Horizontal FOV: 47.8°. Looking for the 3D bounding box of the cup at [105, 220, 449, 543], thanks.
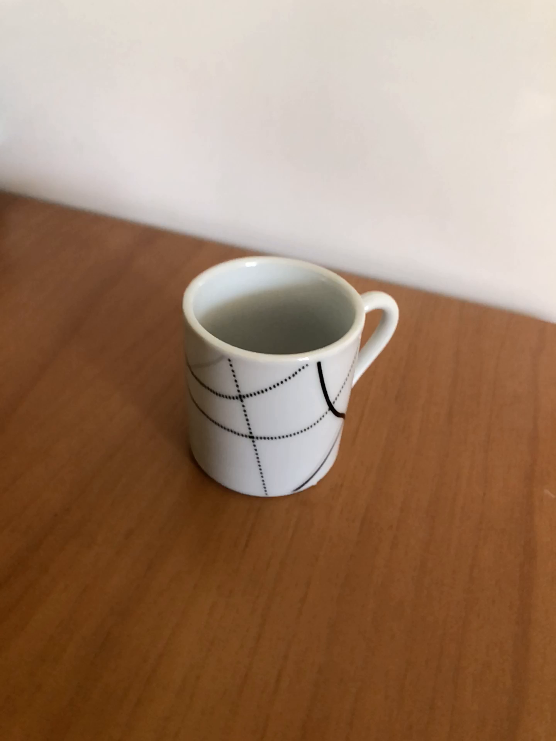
[{"bbox_3d":[-0.003,-0.002,0.181,0.070,0.050,0.060,-18,44,-27],"label":"cup"}]
